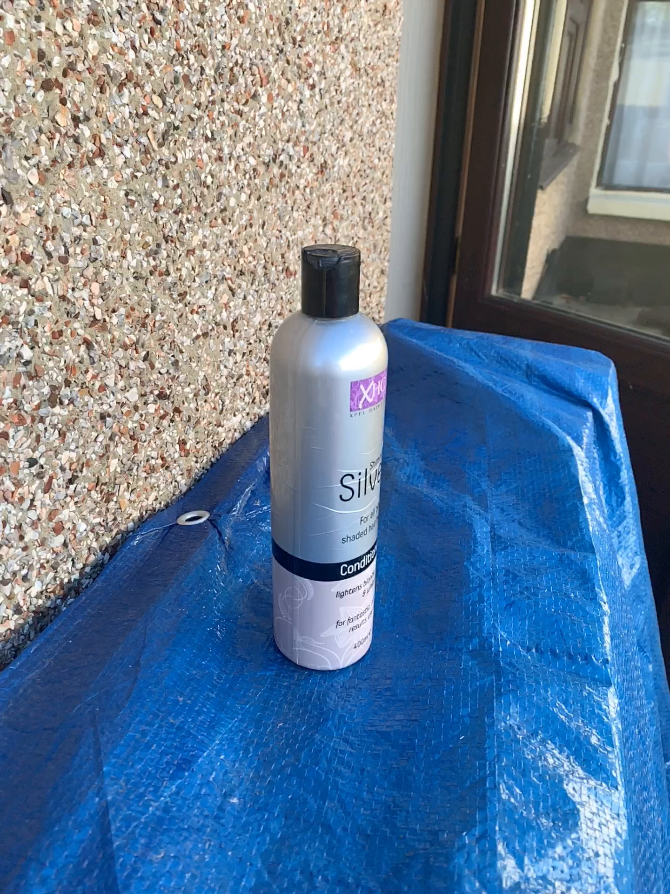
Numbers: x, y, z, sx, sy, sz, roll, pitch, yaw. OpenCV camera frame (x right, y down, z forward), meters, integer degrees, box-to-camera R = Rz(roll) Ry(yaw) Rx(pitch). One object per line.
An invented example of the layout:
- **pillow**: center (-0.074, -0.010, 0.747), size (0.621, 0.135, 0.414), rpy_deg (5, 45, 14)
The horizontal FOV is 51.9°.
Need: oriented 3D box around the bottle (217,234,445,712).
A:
- **bottle**: center (-0.002, 0.013, 0.317), size (0.060, 0.198, 0.070), rpy_deg (19, 32, 31)
